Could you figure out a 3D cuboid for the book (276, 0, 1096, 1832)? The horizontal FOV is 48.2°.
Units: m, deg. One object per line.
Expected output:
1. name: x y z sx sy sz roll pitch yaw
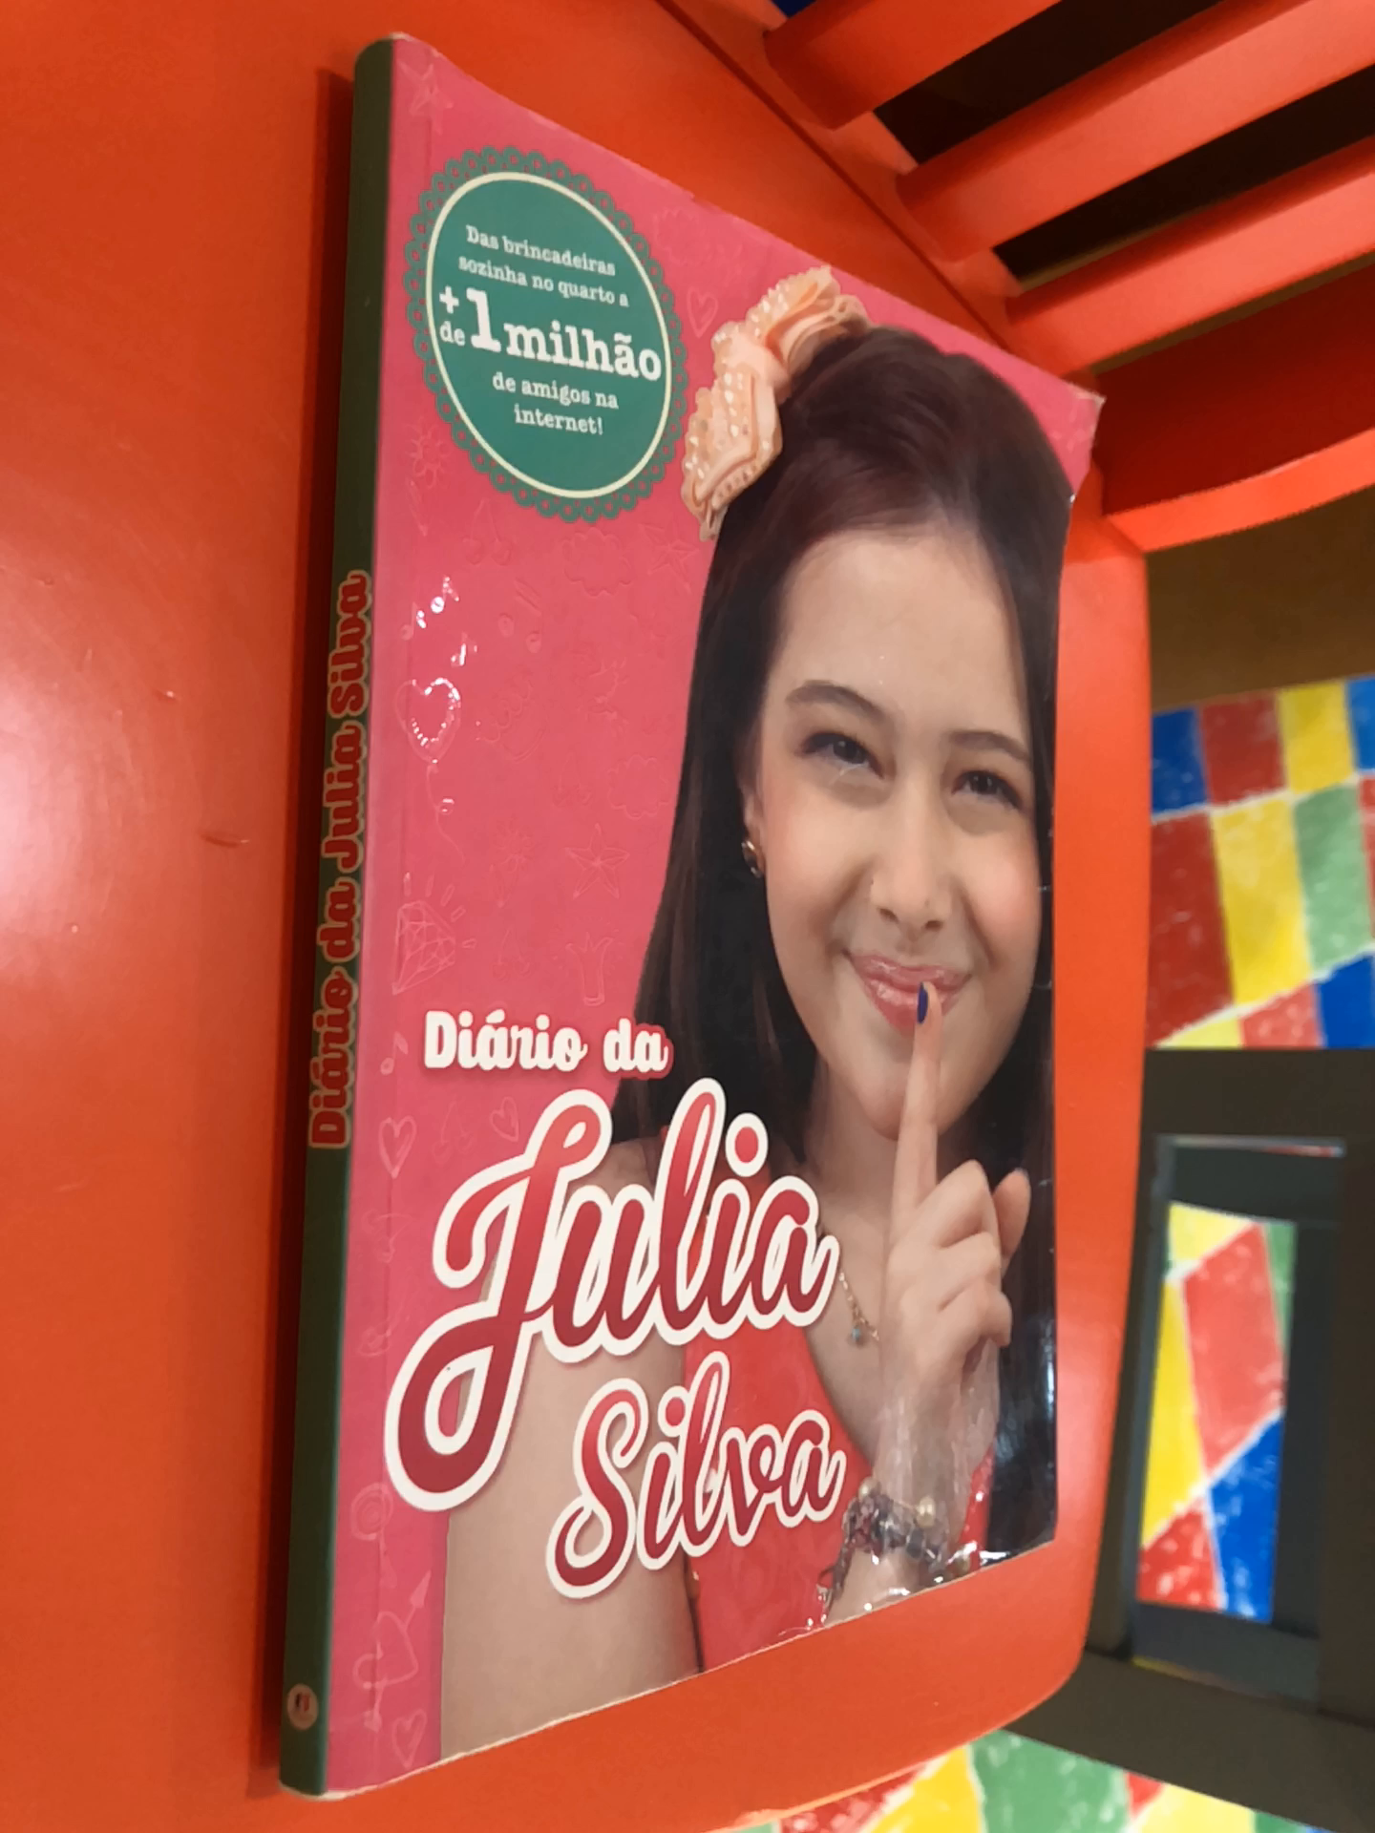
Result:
1. book: 0.016 -0.002 0.262 0.172 0.020 0.241 8 80 -46
